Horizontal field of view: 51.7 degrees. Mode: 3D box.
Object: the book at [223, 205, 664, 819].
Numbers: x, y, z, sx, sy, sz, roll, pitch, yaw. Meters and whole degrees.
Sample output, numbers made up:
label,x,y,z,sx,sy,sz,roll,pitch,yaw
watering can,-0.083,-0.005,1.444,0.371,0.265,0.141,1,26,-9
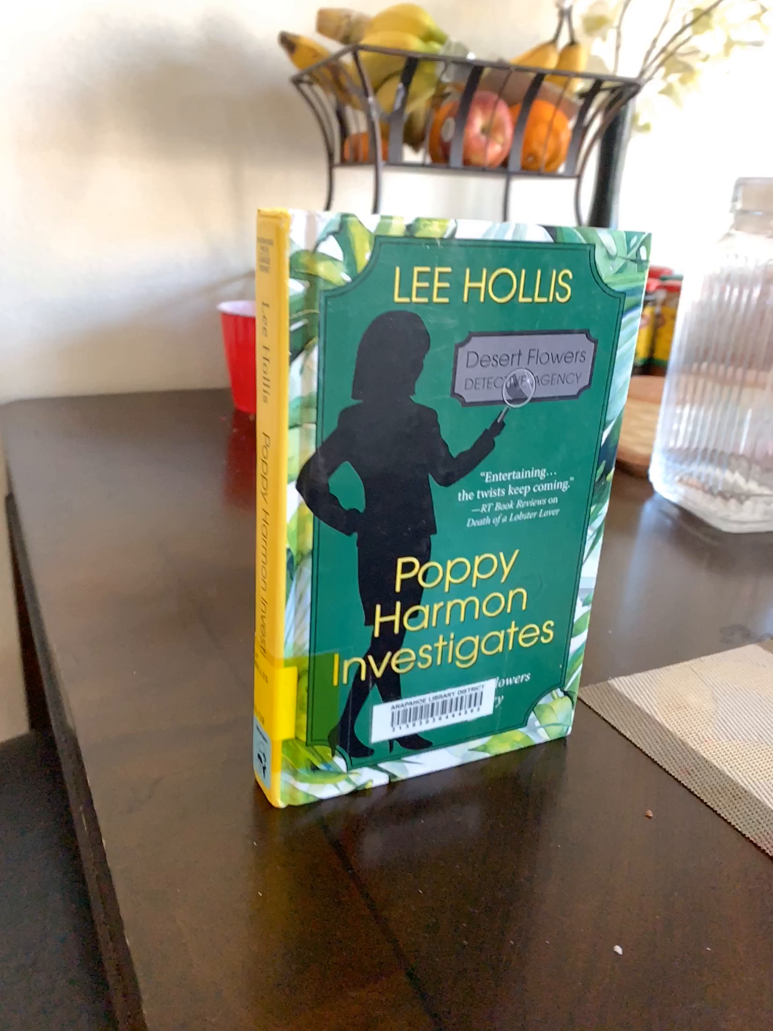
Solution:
label,x,y,z,sx,sy,sz,roll,pitch,yaw
book,0.019,-0.002,0.316,0.153,0.220,0.040,-7,22,-24
